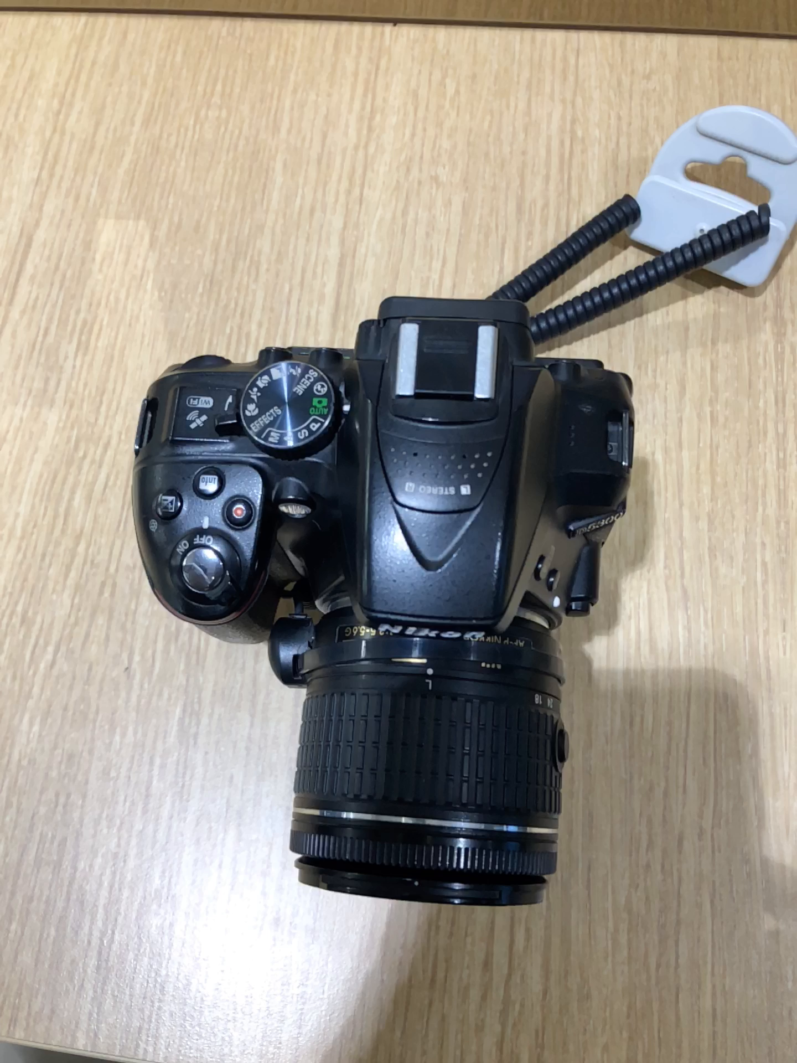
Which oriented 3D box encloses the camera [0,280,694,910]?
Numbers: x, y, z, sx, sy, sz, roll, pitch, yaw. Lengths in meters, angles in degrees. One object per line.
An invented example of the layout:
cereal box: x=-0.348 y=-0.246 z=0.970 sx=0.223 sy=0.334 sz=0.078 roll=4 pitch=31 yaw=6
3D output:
camera: x=-0.007 y=0.019 z=0.208 sx=0.120 sy=0.103 sz=0.110 roll=3 pitch=72 yaw=5
